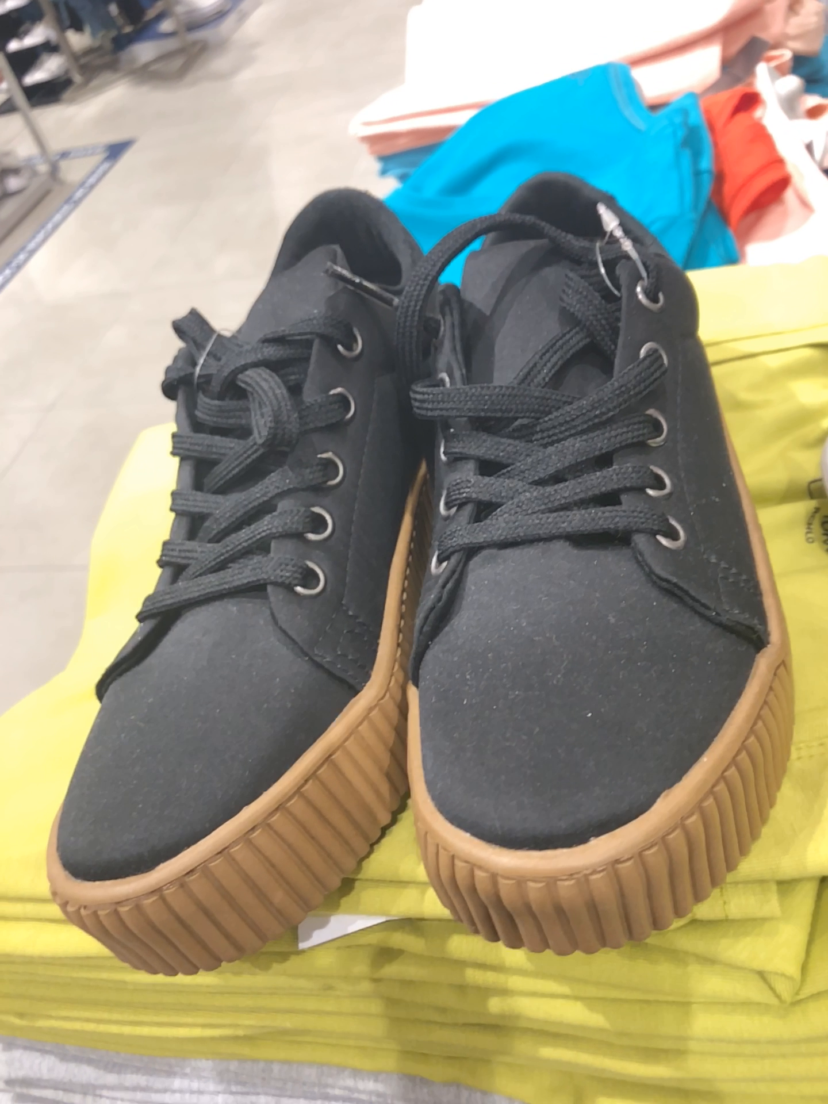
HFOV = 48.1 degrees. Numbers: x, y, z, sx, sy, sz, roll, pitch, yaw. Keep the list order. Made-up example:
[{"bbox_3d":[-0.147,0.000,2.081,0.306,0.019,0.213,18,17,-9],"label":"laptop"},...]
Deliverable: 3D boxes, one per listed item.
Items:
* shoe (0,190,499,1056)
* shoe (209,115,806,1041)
[{"bbox_3d":[-0.046,-0.002,0.263,0.090,0.079,0.231,-4,46,21],"label":"shoe"},{"bbox_3d":[0.037,-0.016,0.247,0.090,0.079,0.241,-7,45,18],"label":"shoe"}]
